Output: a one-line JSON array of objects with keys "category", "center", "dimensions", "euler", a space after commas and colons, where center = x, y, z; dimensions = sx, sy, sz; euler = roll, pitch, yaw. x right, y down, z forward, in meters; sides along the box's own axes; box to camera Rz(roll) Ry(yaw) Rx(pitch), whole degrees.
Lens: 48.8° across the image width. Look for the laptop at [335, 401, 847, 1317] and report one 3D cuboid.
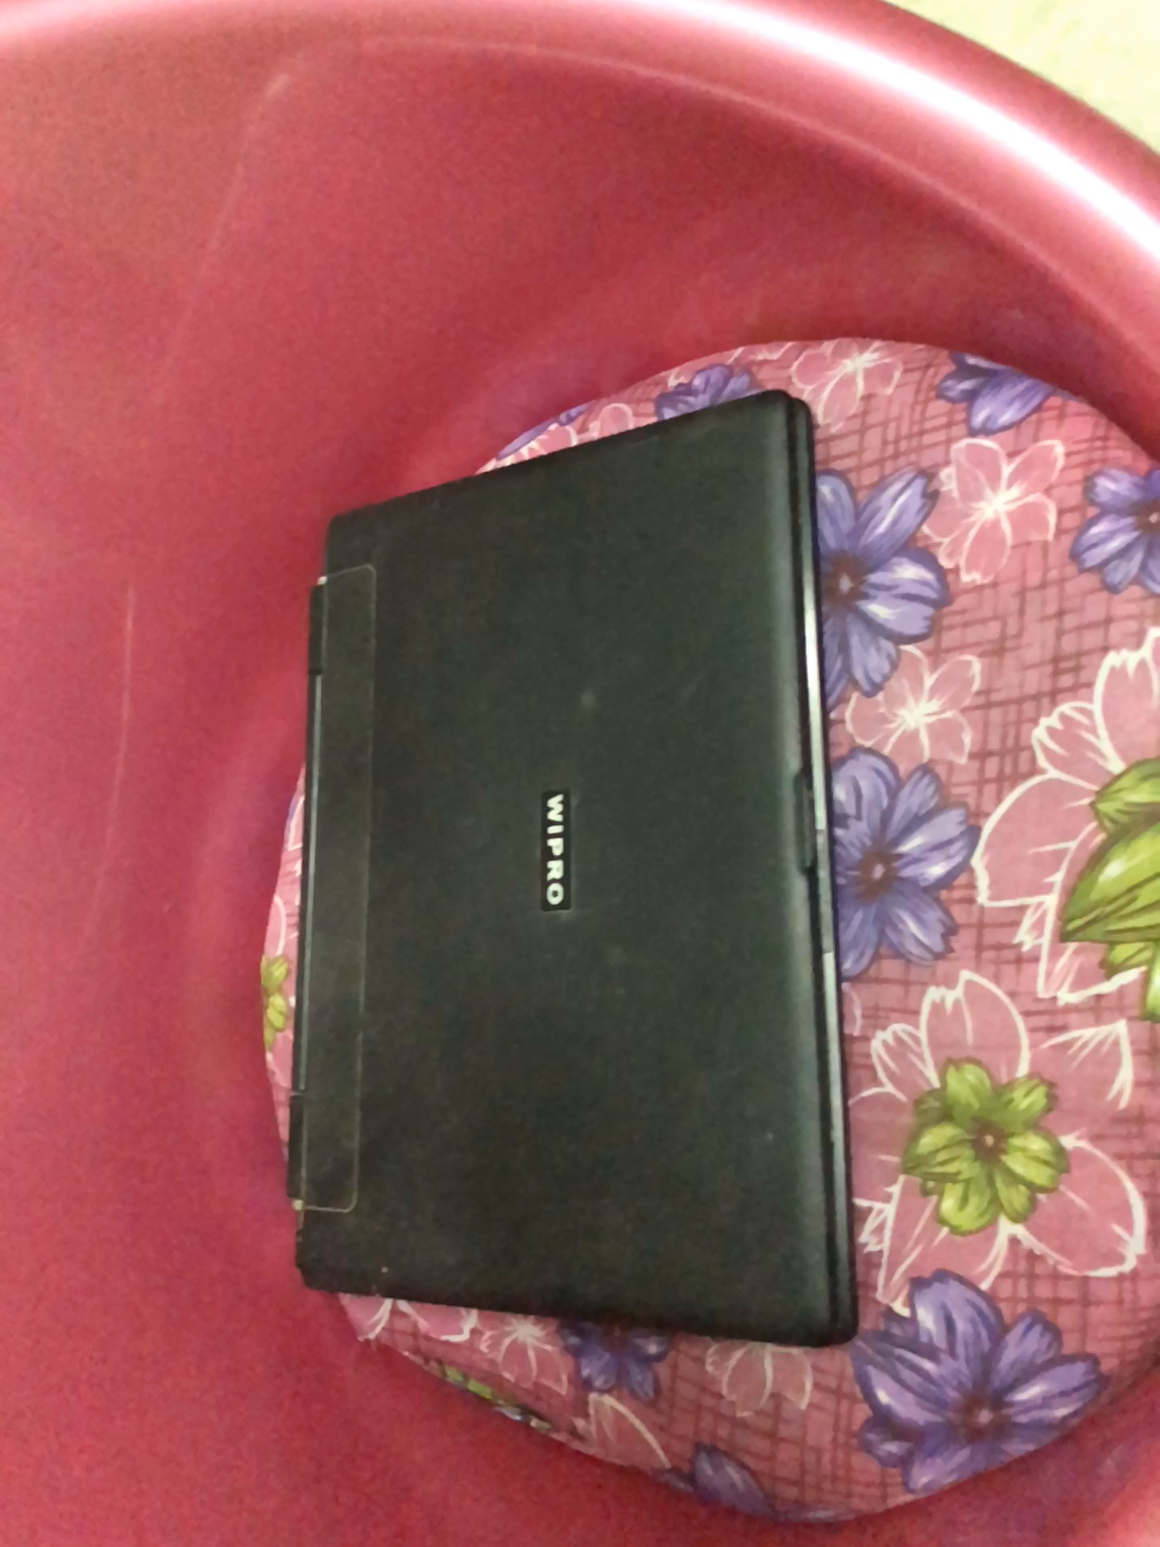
[{"category": "laptop", "center": [-0.008, 0.031, 0.506], "dimensions": [0.221, 0.006, 0.322], "euler": [-8, 76, 32]}]
